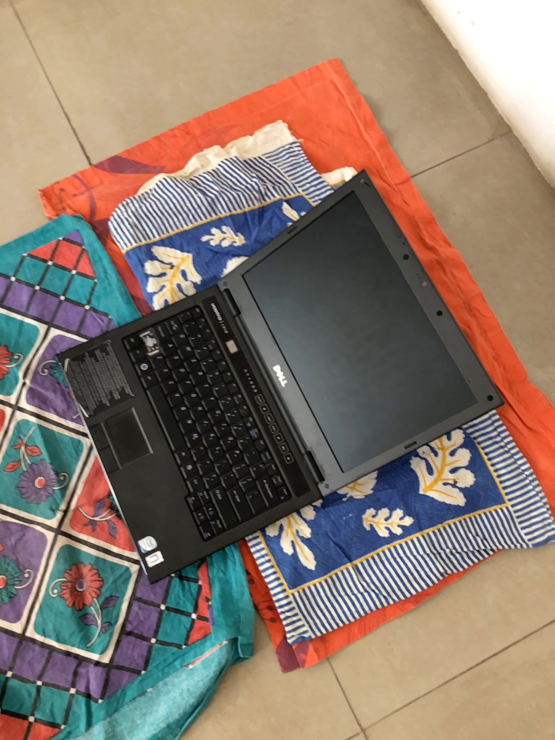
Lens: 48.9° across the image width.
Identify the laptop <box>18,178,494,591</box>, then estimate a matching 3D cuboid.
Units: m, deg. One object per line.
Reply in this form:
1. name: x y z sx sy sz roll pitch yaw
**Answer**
1. laptop: -0.025 0.009 0.715 0.420 0.125 0.306 -25 76 -8
